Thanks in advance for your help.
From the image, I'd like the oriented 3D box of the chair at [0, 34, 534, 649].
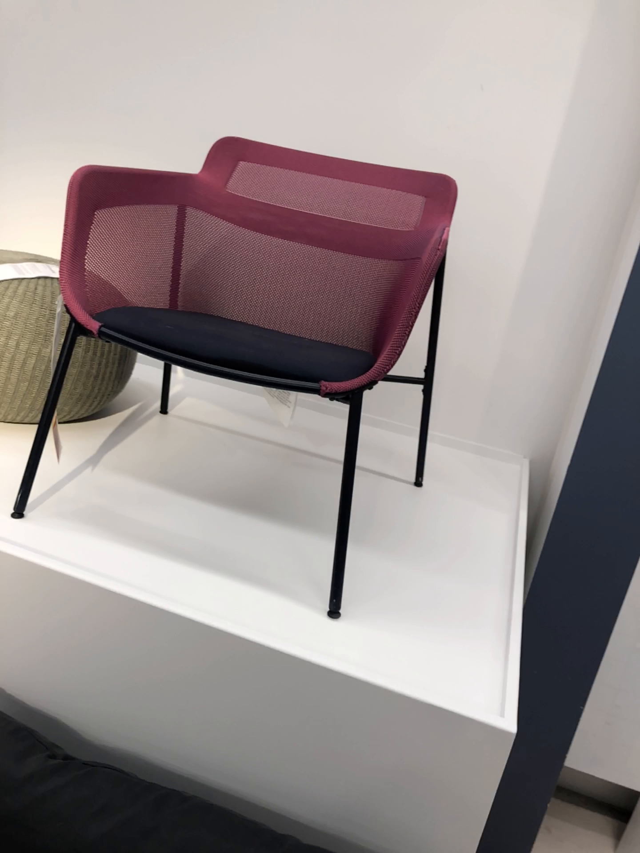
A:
[{"bbox_3d":[-0.049,-0.247,1.501,0.780,0.747,1.014,15,20,11],"label":"chair"}]
